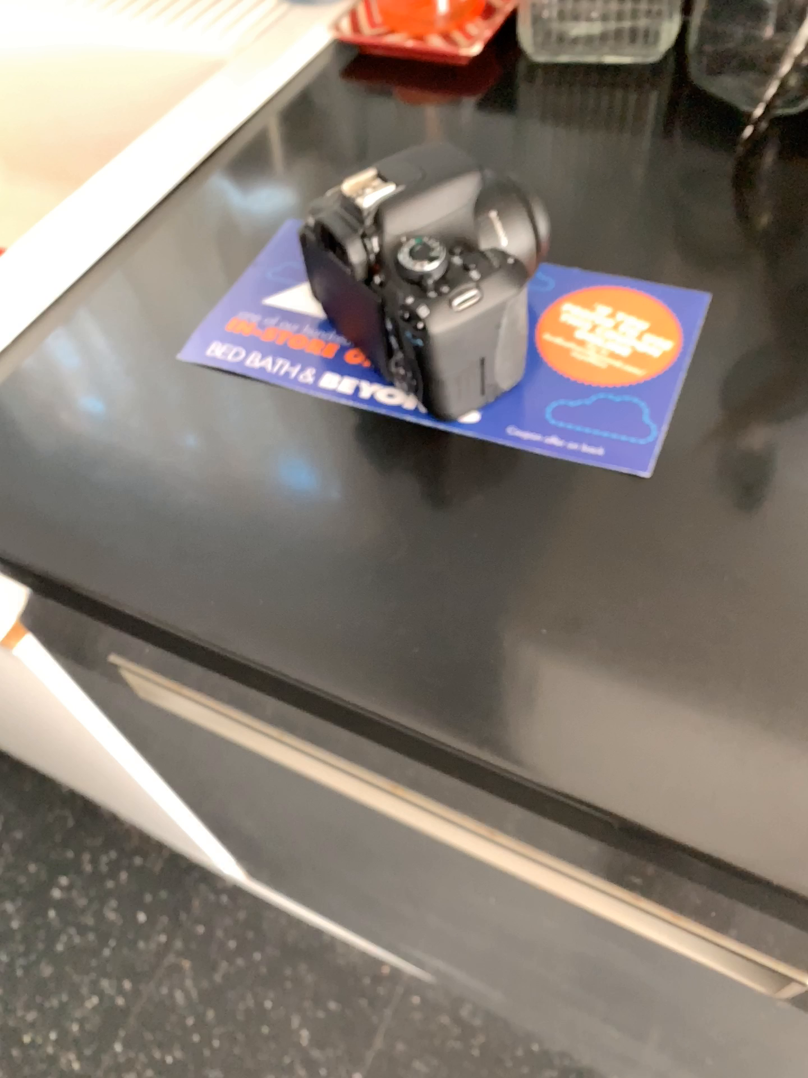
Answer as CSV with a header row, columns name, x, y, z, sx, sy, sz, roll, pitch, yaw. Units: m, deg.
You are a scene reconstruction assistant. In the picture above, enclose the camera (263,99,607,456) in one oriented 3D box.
name,x,y,z,sx,sy,sz,roll,pitch,yaw
camera,0.013,-0.134,0.425,0.103,0.088,0.133,-29,56,-15
